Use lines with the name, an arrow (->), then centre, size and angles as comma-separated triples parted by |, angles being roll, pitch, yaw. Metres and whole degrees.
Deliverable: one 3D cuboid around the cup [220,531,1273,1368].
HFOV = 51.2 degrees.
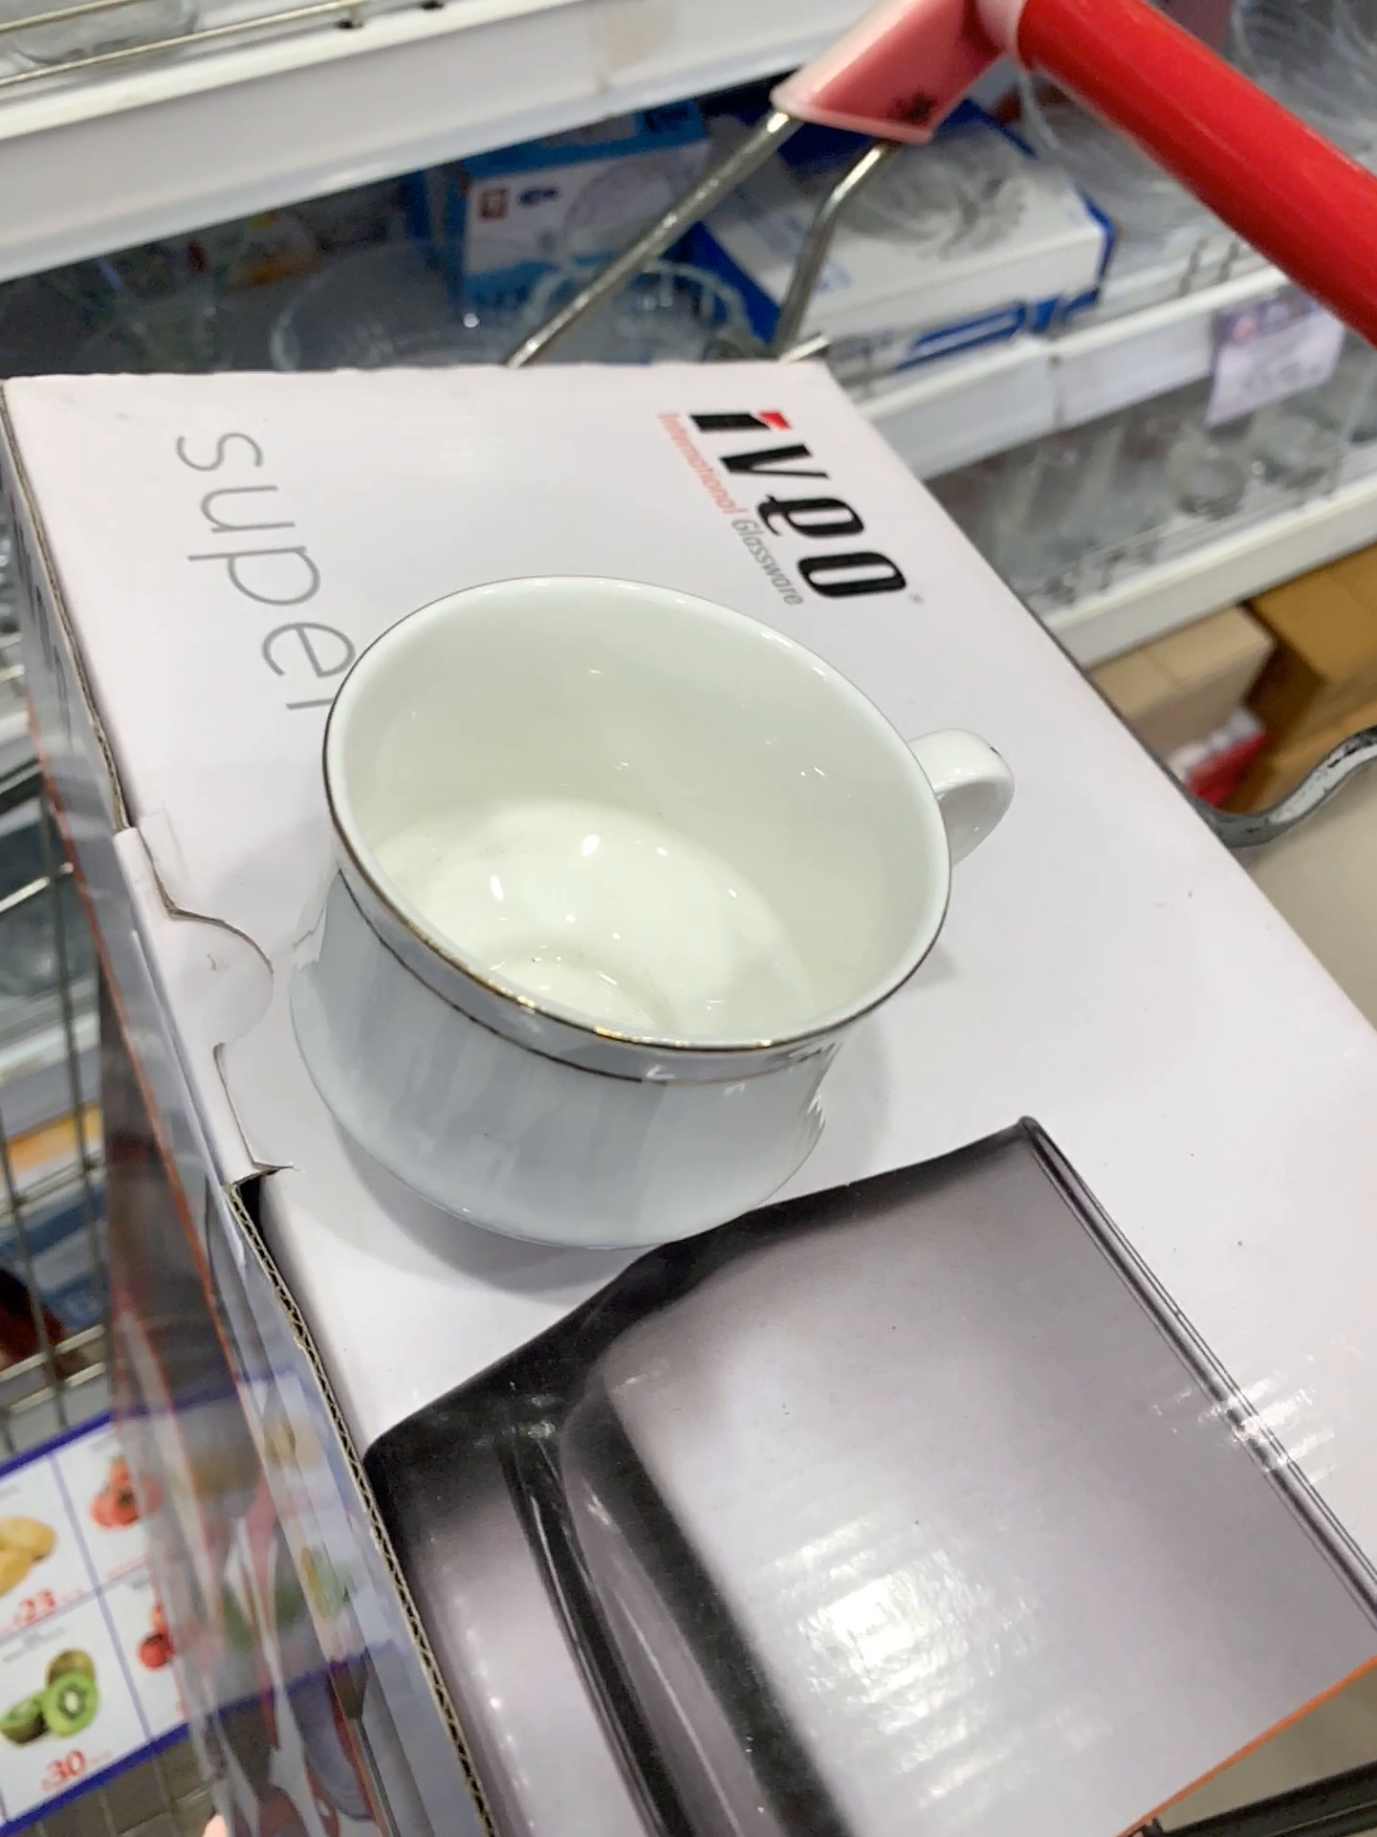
cup -> 0.004, -0.002, 0.162 | 0.090, 0.050, 0.060 | -13, 57, -33
